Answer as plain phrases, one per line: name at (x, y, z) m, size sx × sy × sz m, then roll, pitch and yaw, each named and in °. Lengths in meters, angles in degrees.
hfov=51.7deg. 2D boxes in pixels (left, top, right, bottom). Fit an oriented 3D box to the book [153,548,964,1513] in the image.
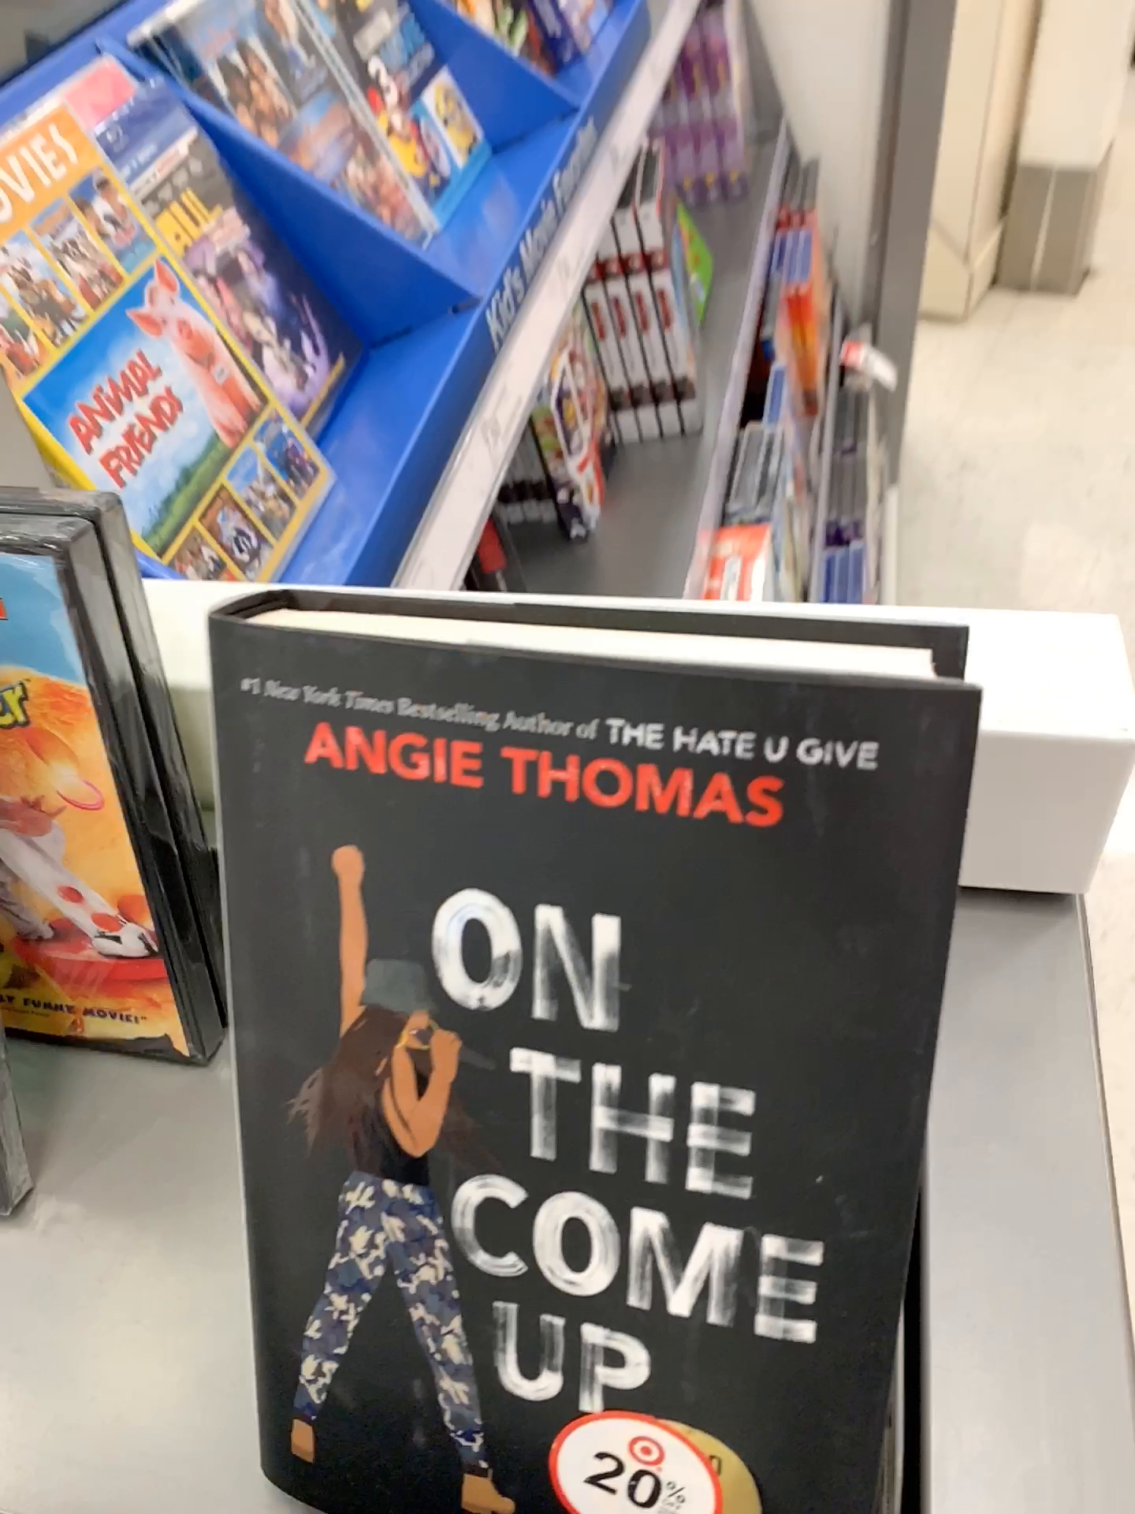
book at (-0.003, 0.072, 0.267) m, size 0.149 × 0.222 × 0.056 m, roll 6°, pitch 18°, yaw 13°
